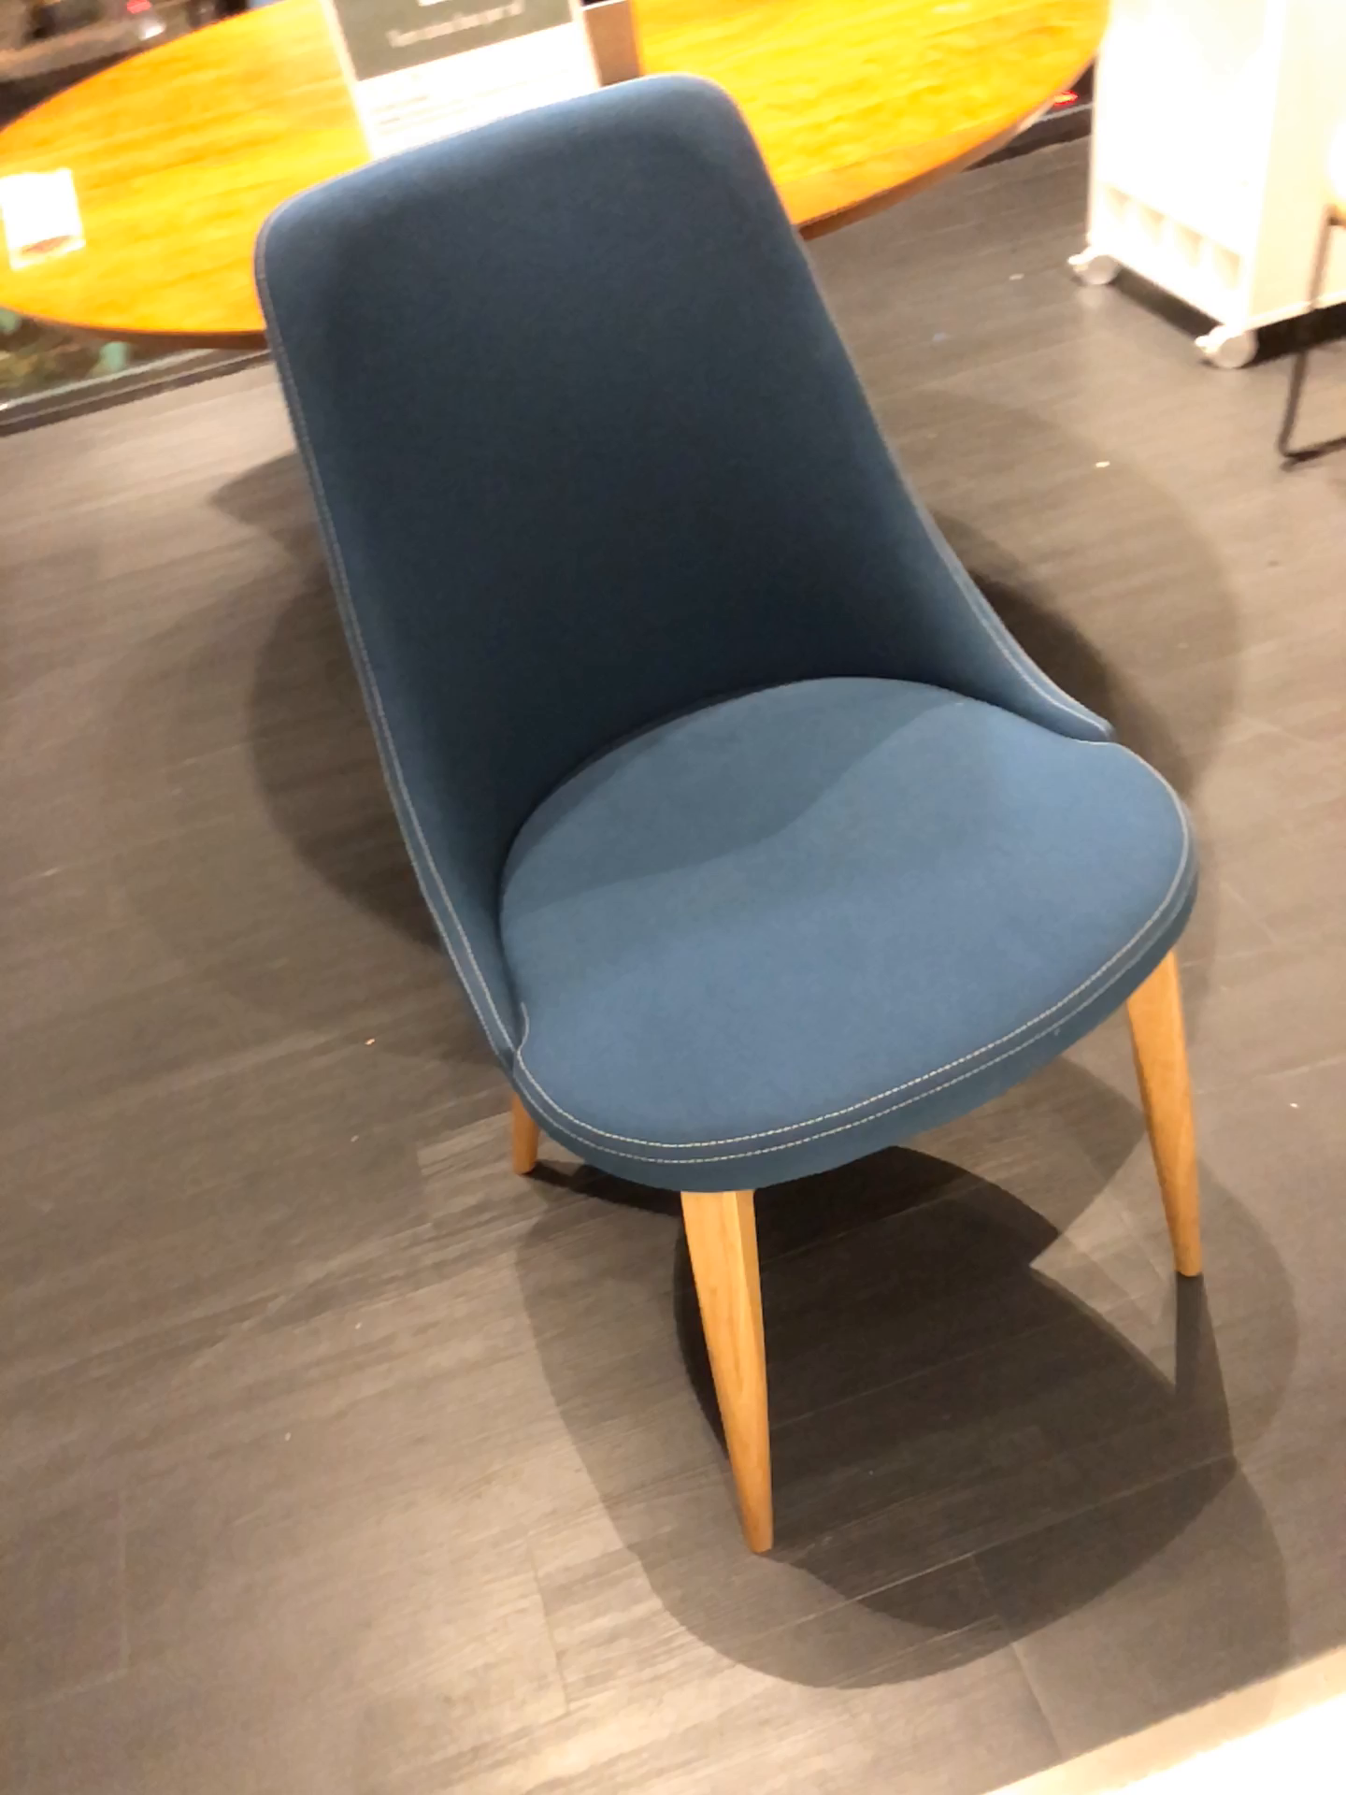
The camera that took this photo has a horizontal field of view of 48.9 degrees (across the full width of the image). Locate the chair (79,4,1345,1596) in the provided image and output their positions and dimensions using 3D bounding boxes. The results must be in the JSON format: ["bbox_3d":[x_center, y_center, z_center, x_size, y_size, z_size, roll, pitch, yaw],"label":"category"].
[{"bbox_3d":[0.061,-0.052,1.060,0.521,0.854,0.543,-26,45,-15],"label":"chair"}]
